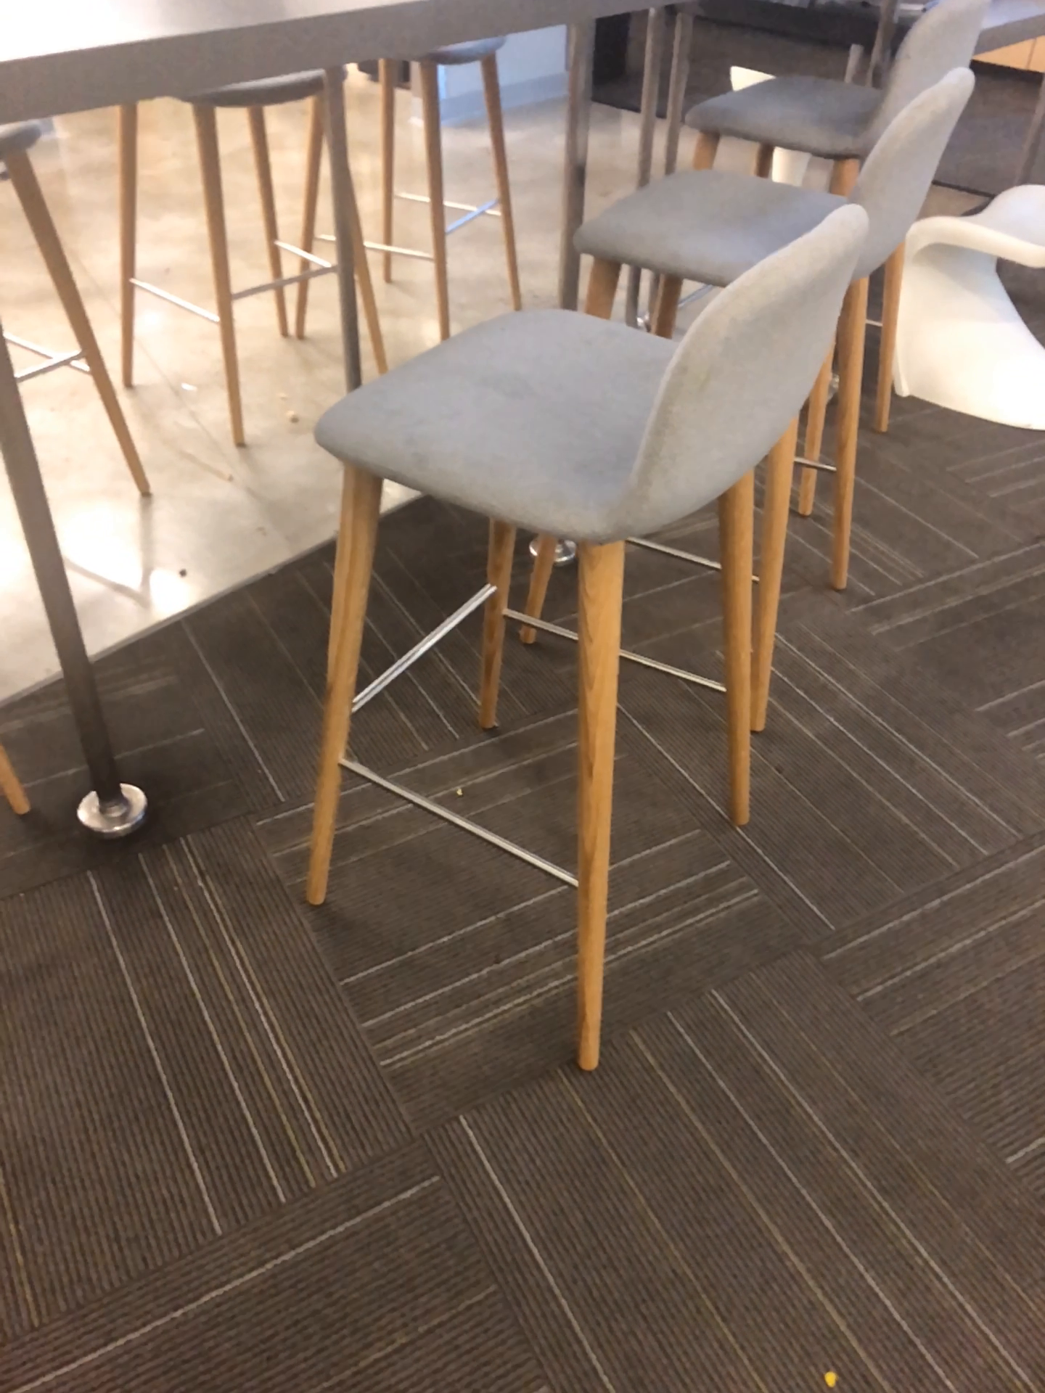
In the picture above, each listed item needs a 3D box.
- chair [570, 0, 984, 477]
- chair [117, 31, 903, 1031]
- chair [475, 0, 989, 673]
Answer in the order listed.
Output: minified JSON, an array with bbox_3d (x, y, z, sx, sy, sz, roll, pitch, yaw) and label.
[{"bbox_3d":[0.502,-1.126,2.483,0.541,1.031,0.544,24,46,23],"label":"chair"},{"bbox_3d":[0.011,-0.189,1.405,0.540,0.941,0.575,21,45,20],"label":"chair"},{"bbox_3d":[0.301,-0.648,1.897,0.540,0.941,0.575,21,45,20],"label":"chair"}]
